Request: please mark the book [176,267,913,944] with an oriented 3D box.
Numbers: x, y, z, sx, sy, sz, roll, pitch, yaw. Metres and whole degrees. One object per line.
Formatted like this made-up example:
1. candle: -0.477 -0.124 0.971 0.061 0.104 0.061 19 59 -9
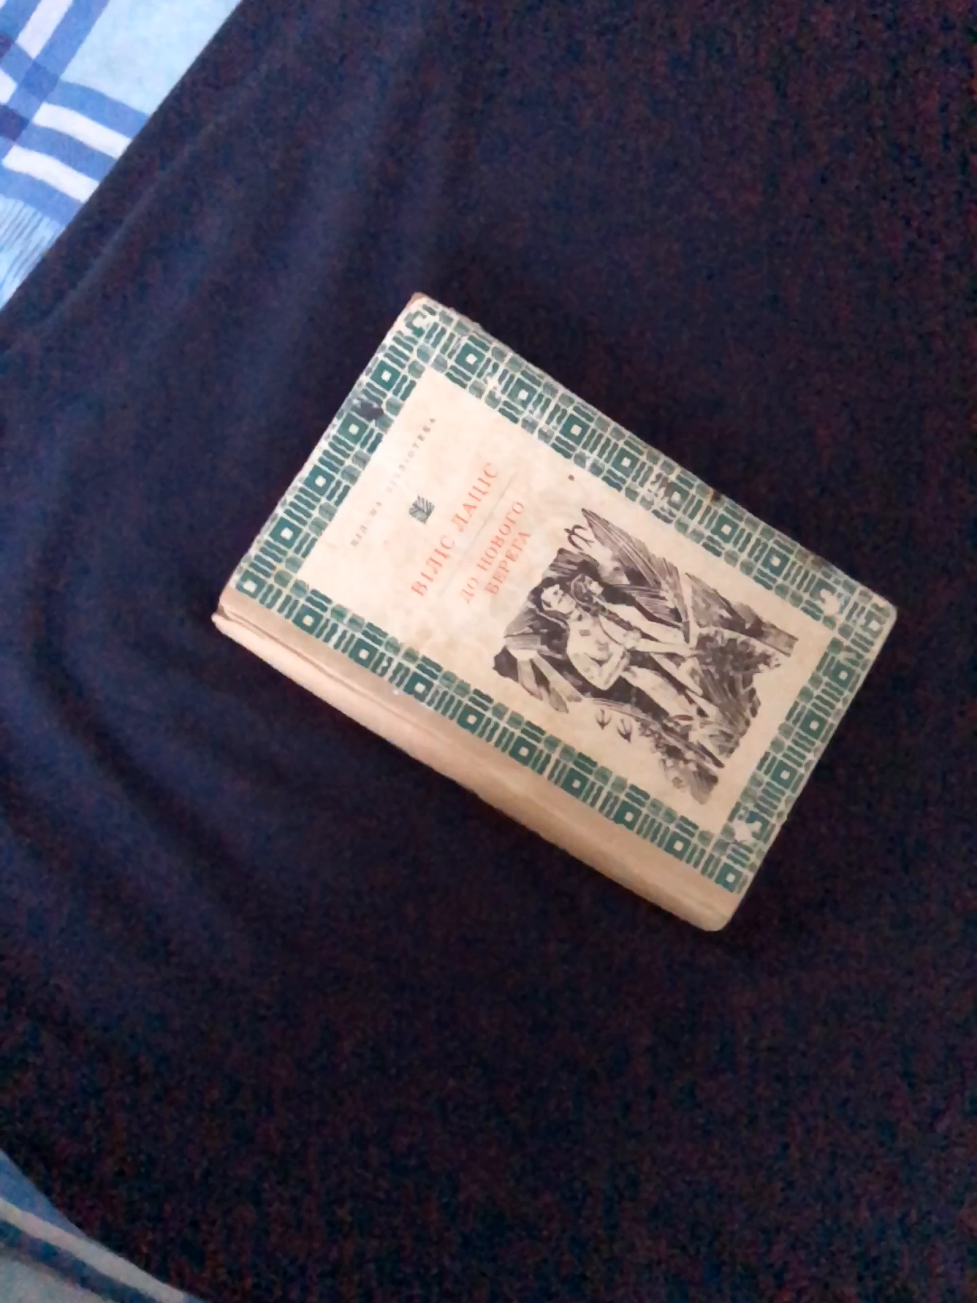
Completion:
1. book: 0.021 -0.013 0.369 0.201 0.040 0.134 31 85 -5
